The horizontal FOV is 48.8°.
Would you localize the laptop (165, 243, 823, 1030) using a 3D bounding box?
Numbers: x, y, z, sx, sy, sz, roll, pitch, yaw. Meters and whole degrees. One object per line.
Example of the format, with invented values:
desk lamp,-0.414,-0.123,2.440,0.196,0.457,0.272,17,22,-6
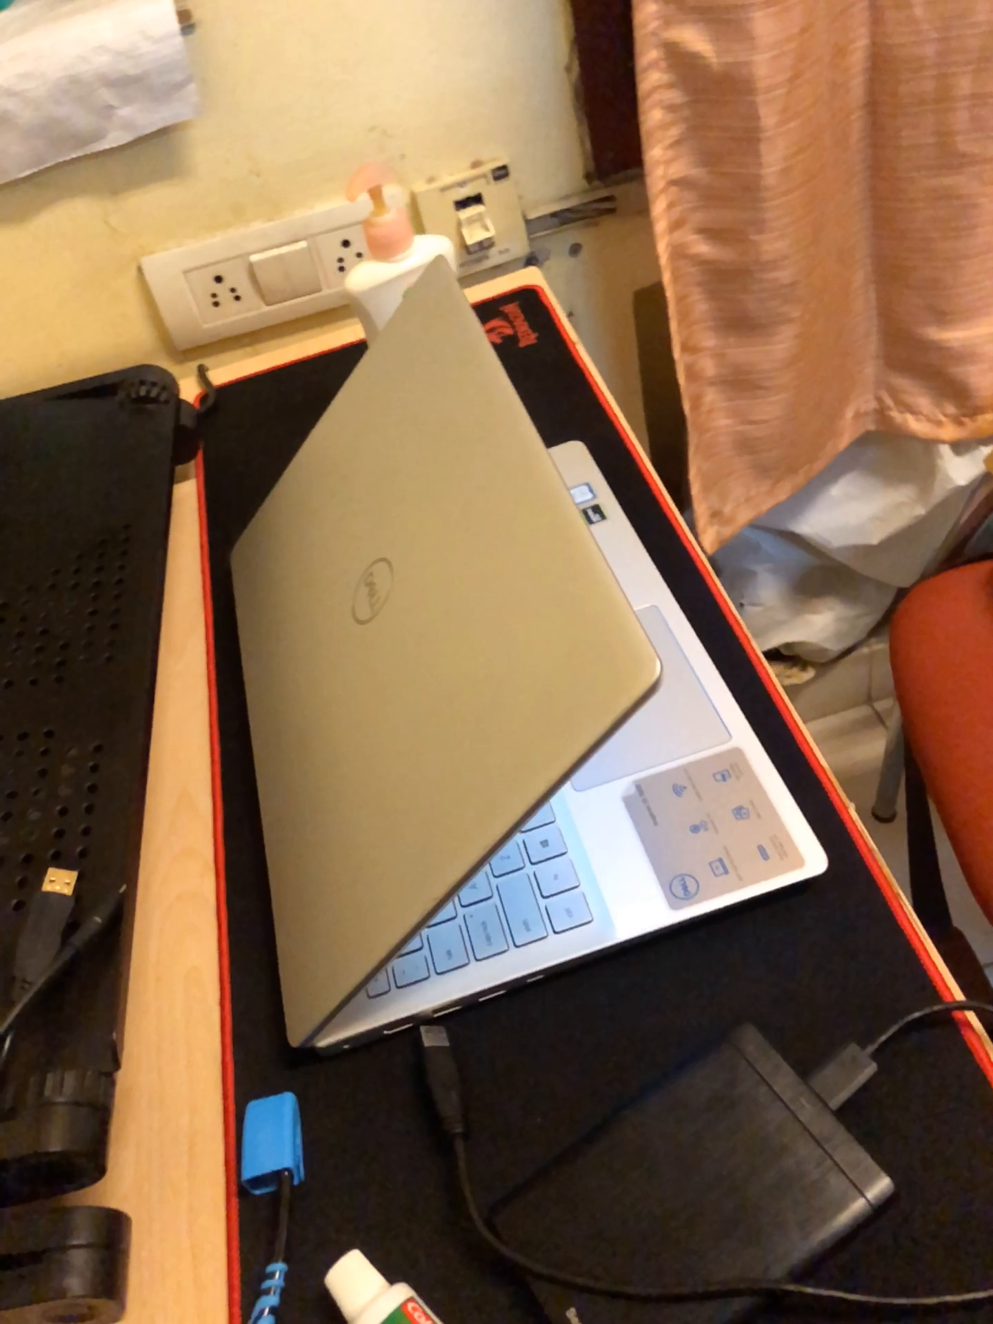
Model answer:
laptop,-0.021,-0.043,0.544,0.218,0.139,0.352,-18,45,-4
